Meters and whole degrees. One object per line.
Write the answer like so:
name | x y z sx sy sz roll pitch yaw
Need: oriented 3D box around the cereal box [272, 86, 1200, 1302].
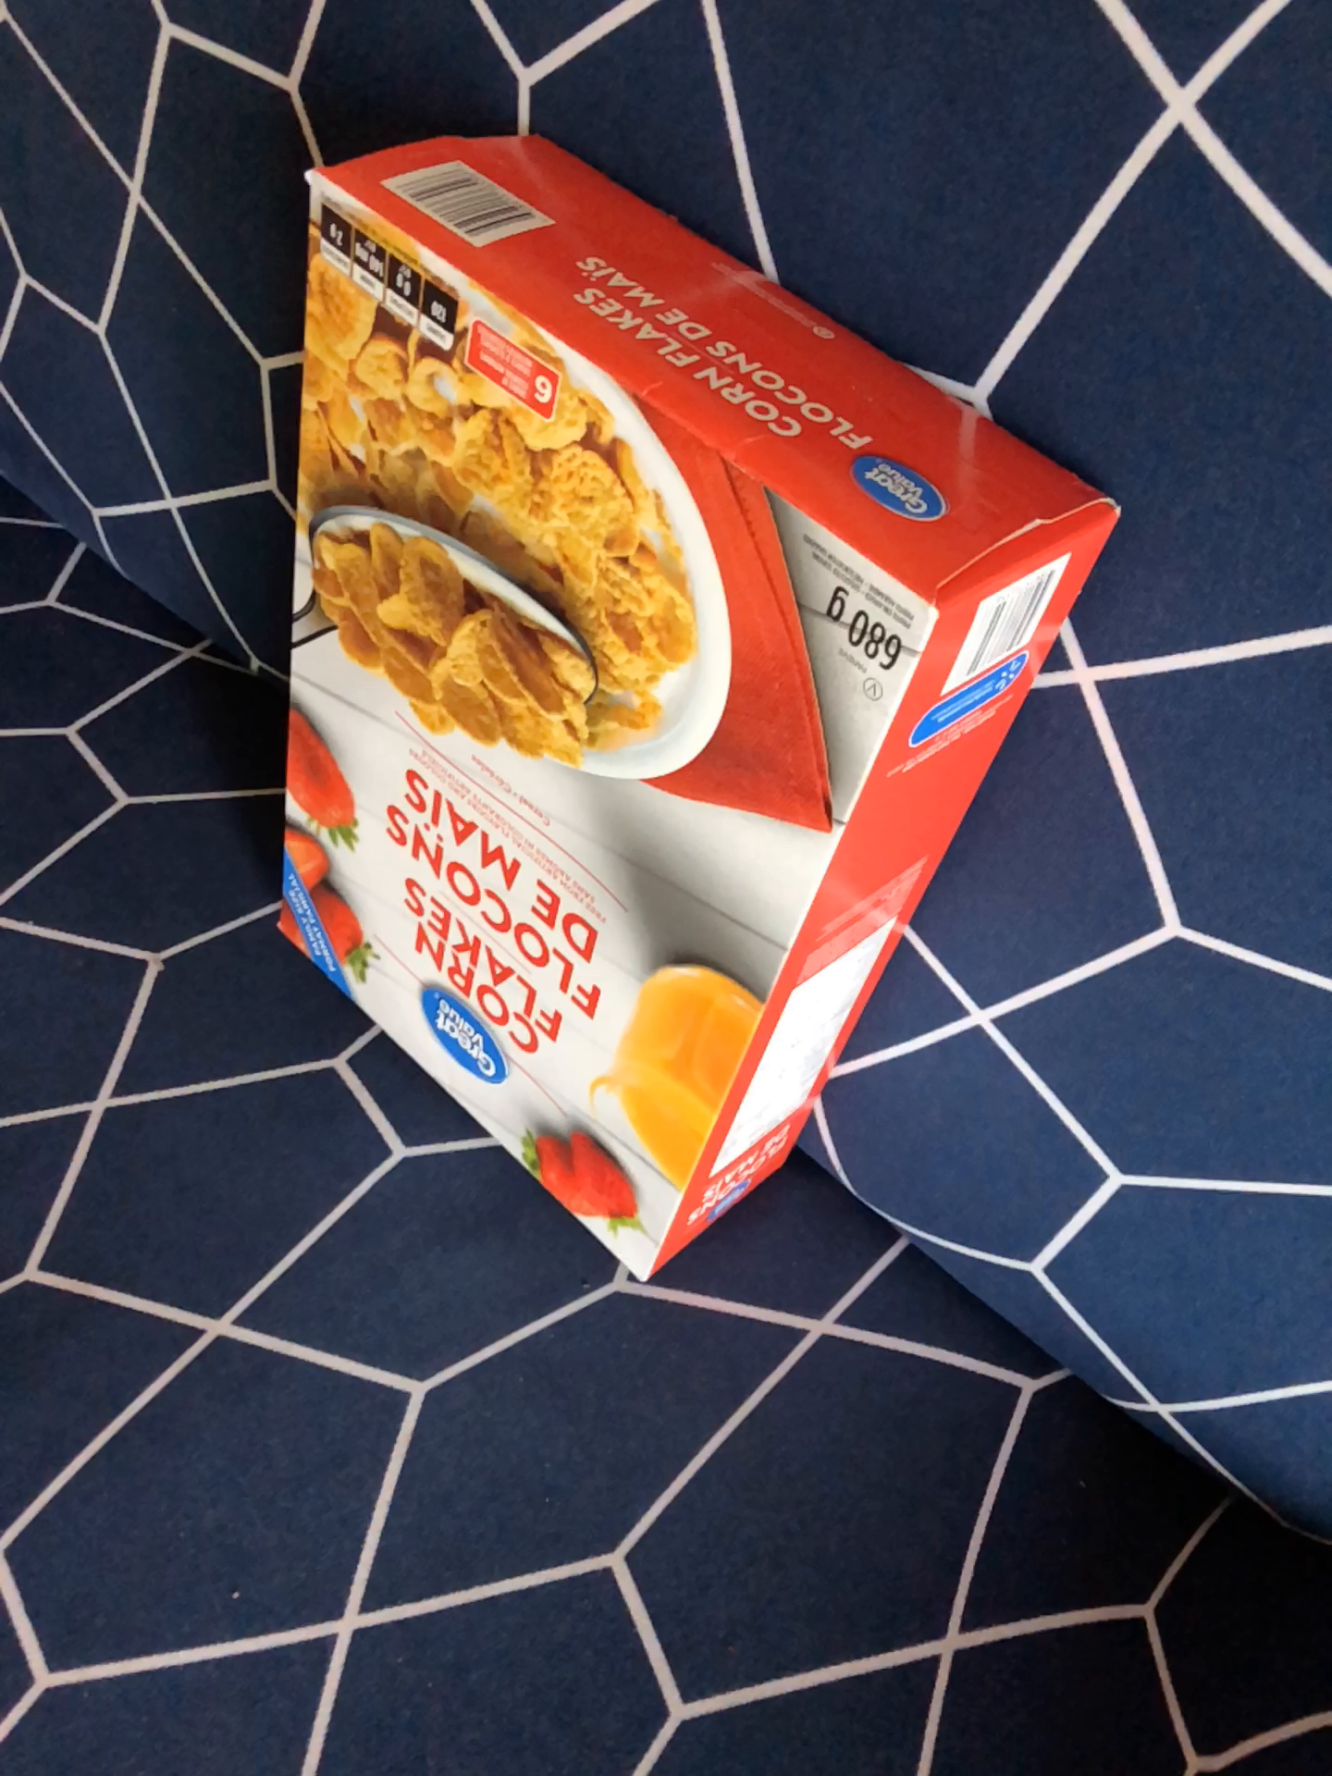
cereal box | -0.015 -0.047 0.483 0.221 0.319 0.100 40 48 21
